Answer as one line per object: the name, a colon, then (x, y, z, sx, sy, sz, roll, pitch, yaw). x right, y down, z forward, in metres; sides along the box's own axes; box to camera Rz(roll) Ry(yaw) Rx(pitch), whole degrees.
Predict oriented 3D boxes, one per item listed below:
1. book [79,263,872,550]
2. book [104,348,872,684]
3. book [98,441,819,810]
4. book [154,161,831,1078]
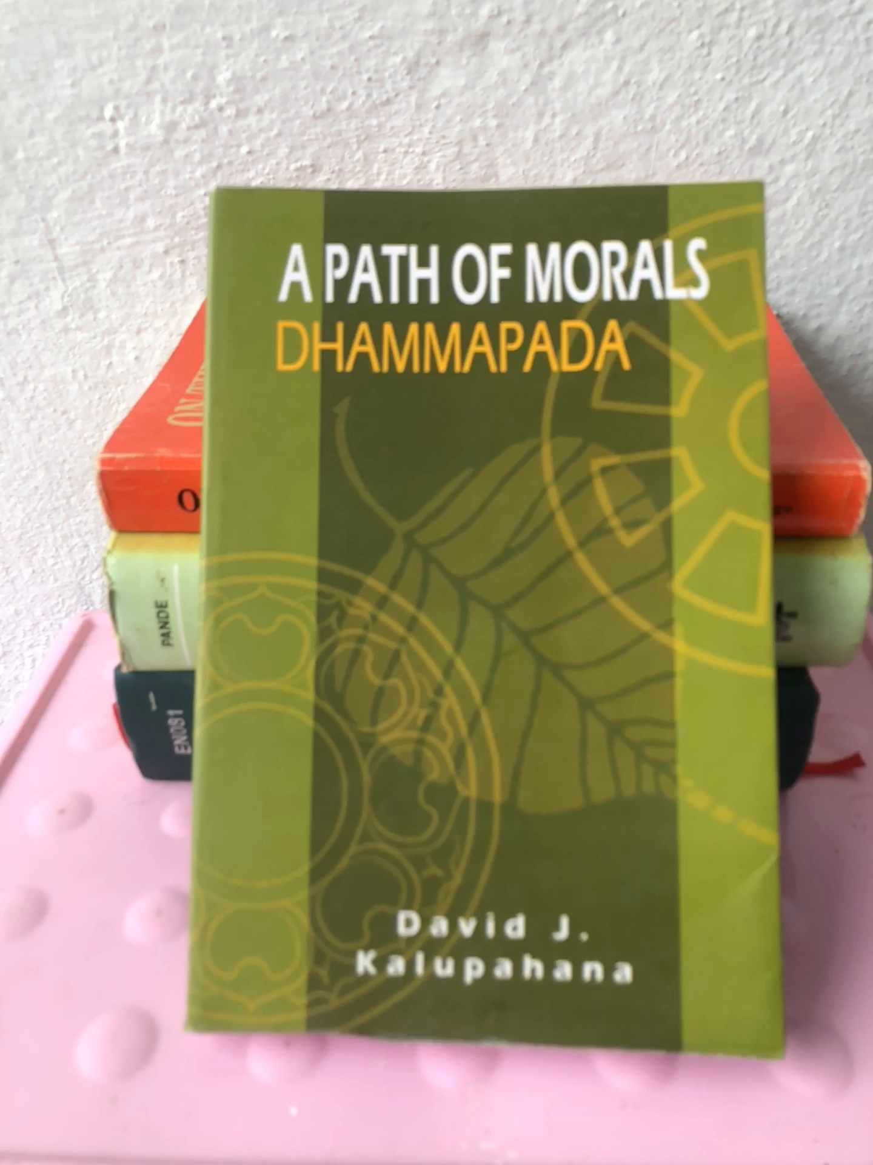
book: (0.014, -0.067, 0.323, 0.210, 0.030, 0.161, -1, 33, 4)
book: (0.020, -0.032, 0.329, 0.210, 0.040, 0.161, 0, 33, 4)
book: (0.011, 0.005, 0.358, 0.210, 0.050, 0.161, 0, 33, 6)
book: (0.014, 0.004, 0.243, 0.150, 0.210, 0.040, 1, -6, 3)
